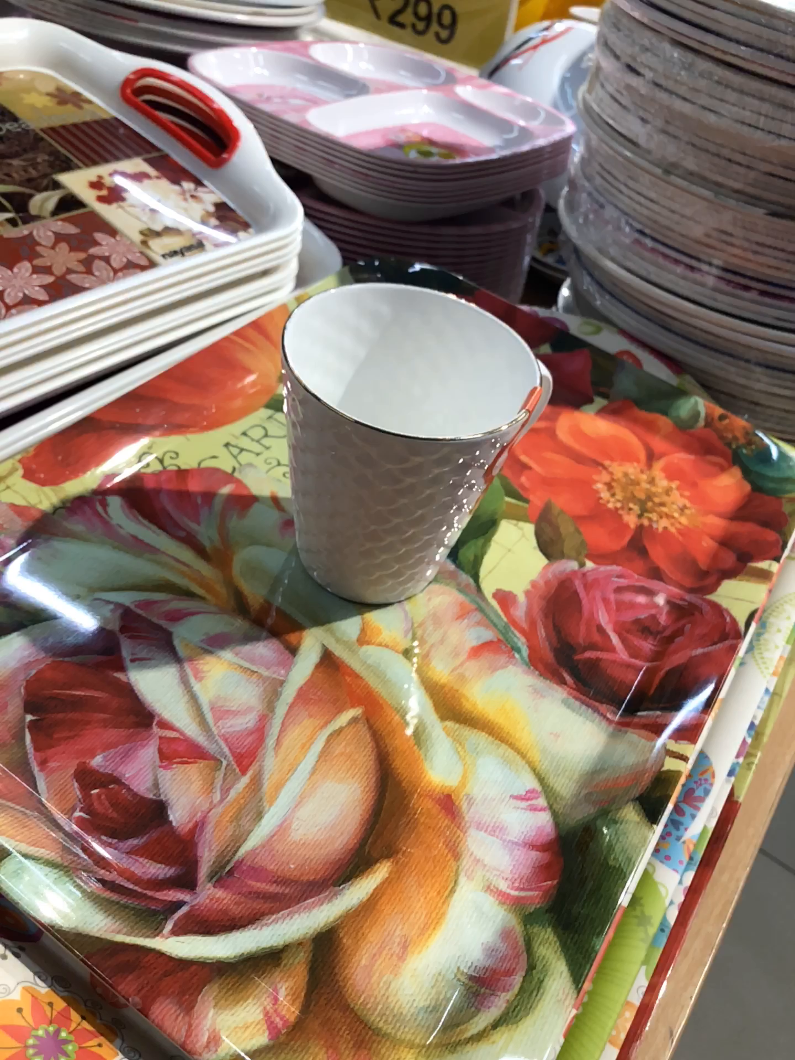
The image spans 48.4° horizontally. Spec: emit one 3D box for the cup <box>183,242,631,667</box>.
[{"bbox_3d":[-0.002,-0.036,0.334,0.121,0.089,0.100,-23,52,-34],"label":"cup"}]
